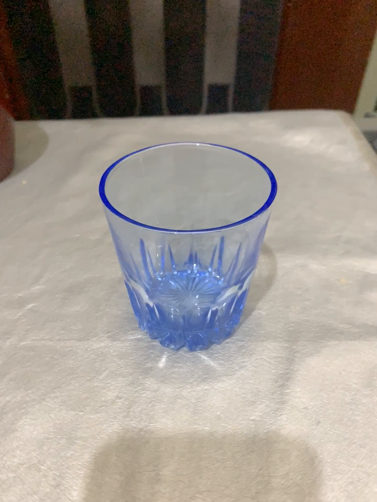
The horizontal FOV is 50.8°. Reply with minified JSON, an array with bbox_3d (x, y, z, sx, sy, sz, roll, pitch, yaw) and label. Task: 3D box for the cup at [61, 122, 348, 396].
[{"bbox_3d":[0.008,-0.005,0.197,0.090,0.070,0.090,1,39,-1],"label":"cup"}]
